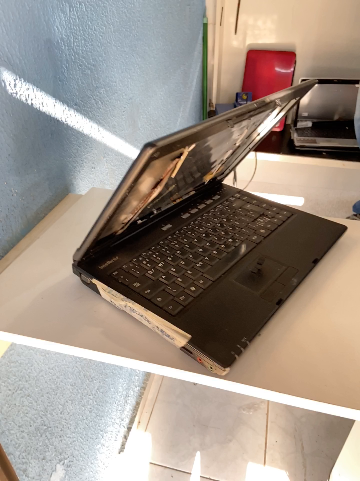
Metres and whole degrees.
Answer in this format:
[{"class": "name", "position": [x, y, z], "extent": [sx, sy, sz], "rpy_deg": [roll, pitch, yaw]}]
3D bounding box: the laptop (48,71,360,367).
[{"class": "laptop", "position": [0.060, -0.072, 0.461], "extent": [0.231, 0.191, 0.324], "rpy_deg": [25, 40, 32]}]
